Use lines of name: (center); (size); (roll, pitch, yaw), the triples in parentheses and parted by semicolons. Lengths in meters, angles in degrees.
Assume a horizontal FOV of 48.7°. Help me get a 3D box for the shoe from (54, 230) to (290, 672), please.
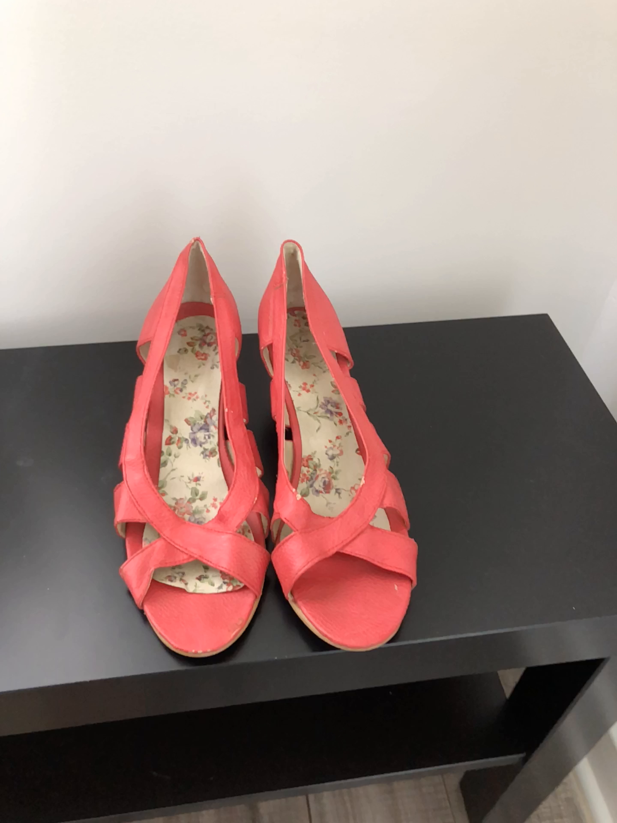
shoe: (-0.070, 0.006, 0.367); (0.087, 0.100, 0.221); (-5, 45, -8)

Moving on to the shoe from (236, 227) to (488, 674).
shoe: (0.011, 0.005, 0.374); (0.077, 0.100, 0.231); (-5, 45, -8)
